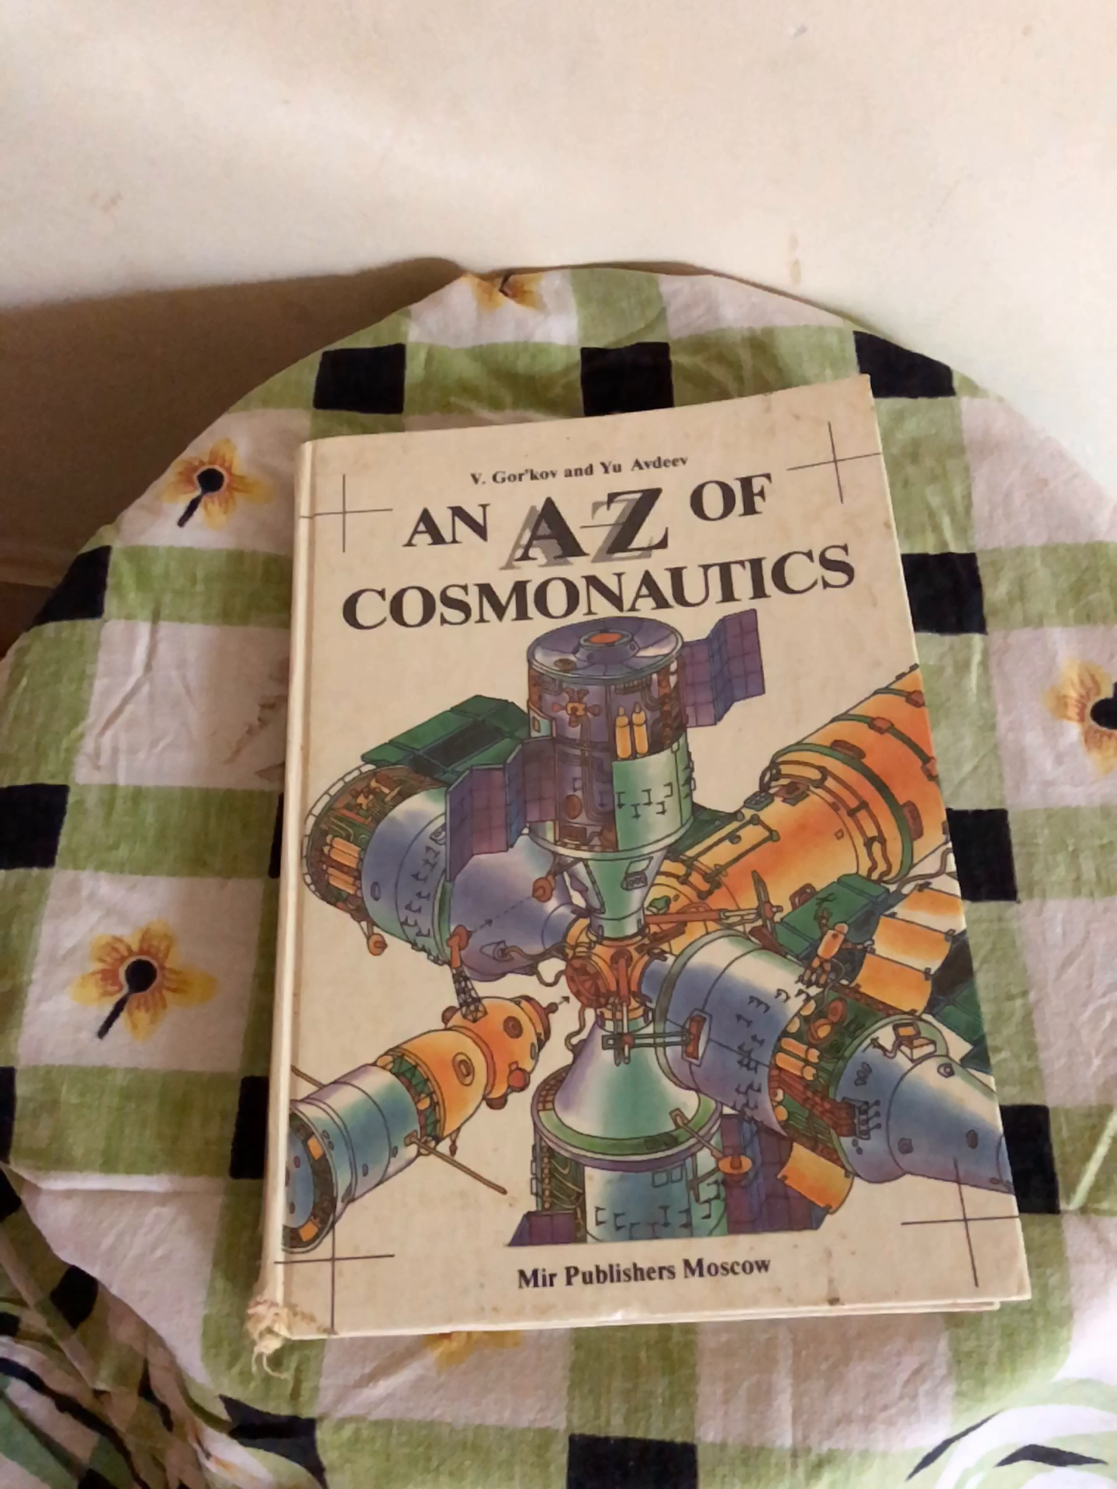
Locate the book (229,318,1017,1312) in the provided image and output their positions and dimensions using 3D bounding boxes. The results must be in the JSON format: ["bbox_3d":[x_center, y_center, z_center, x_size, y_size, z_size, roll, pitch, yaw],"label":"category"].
[{"bbox_3d":[0.008,0.010,0.362,0.180,0.060,0.270,-4,68,0],"label":"book"}]
